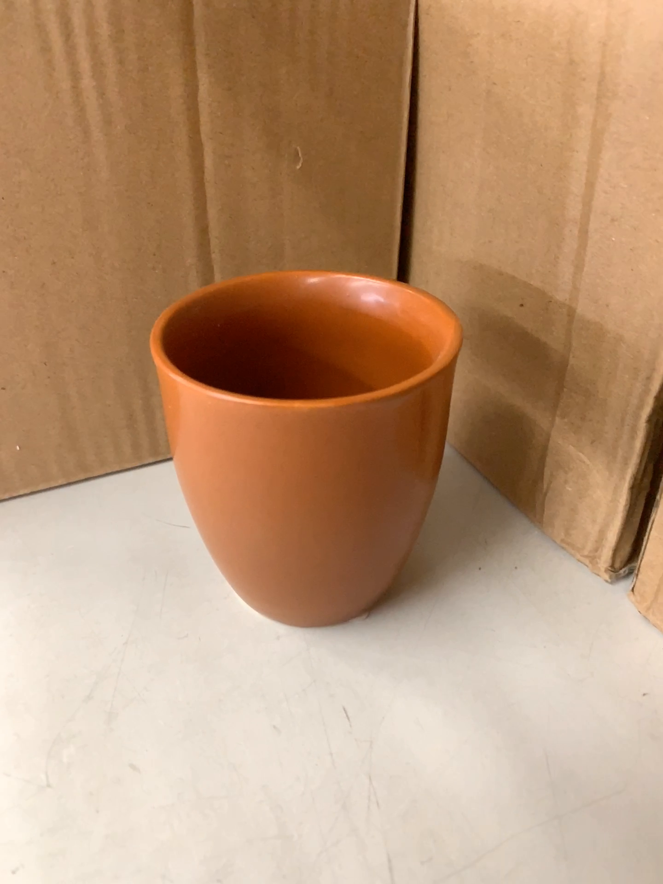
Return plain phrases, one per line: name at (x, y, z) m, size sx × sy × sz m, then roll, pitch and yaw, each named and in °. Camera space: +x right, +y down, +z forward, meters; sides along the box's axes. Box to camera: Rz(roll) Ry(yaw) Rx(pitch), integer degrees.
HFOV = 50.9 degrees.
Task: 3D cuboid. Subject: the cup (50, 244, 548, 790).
cup at (-0.002, 0.010, 0.158) m, size 0.070 × 0.079 × 0.070 m, roll -2°, pitch 35°, yaw 1°
